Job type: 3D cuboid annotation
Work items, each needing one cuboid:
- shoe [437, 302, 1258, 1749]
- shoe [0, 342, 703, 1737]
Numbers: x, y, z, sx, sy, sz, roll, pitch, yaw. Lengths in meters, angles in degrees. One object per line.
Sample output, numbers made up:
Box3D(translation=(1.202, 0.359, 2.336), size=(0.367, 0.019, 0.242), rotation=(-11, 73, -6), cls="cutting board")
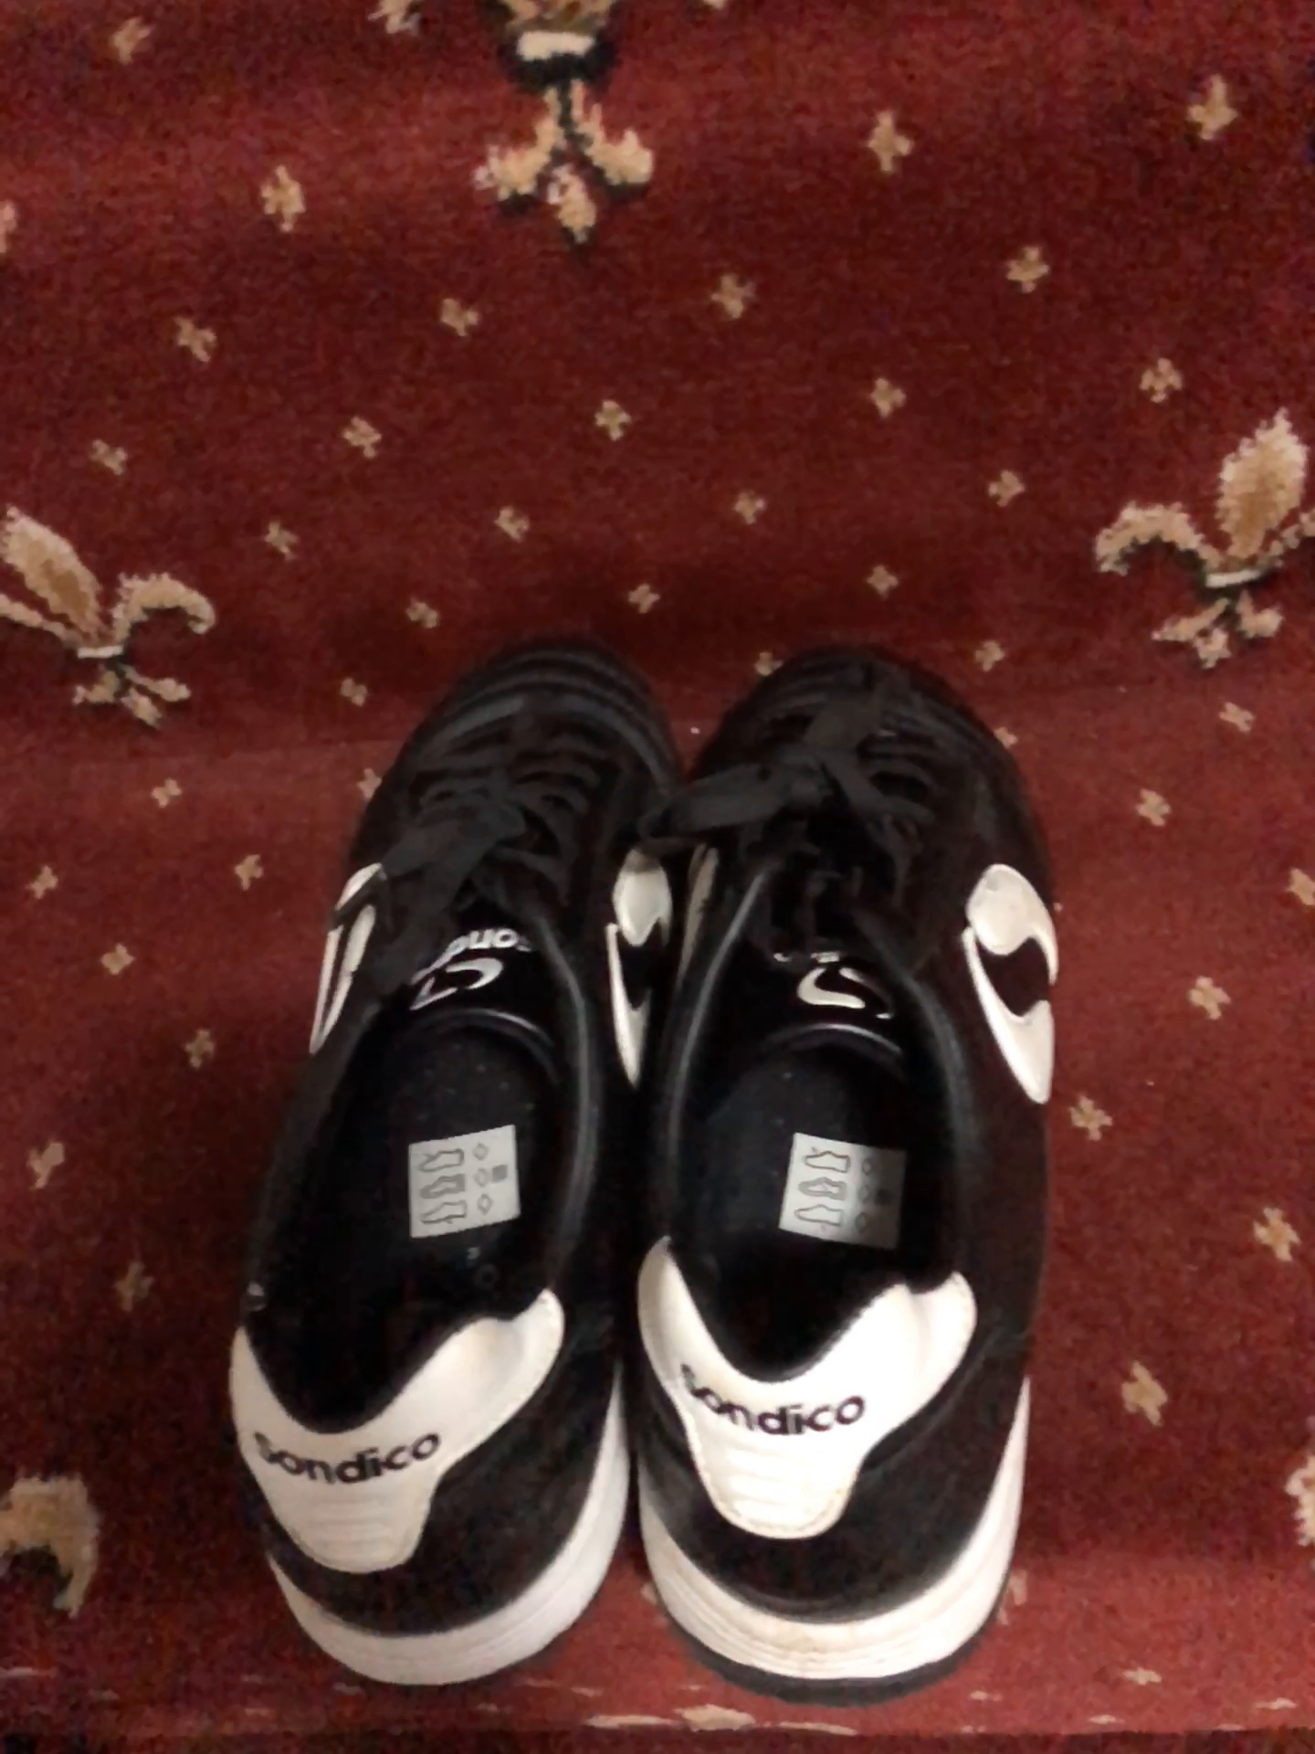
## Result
Box3D(translation=(0.039, 0.001, 0.314), size=(0.100, 0.099, 0.302), rotation=(0, 49, 8), cls="shoe")
Box3D(translation=(-0.044, 0.008, 0.325), size=(0.100, 0.099, 0.302), rotation=(-3, 49, 5), cls="shoe")
